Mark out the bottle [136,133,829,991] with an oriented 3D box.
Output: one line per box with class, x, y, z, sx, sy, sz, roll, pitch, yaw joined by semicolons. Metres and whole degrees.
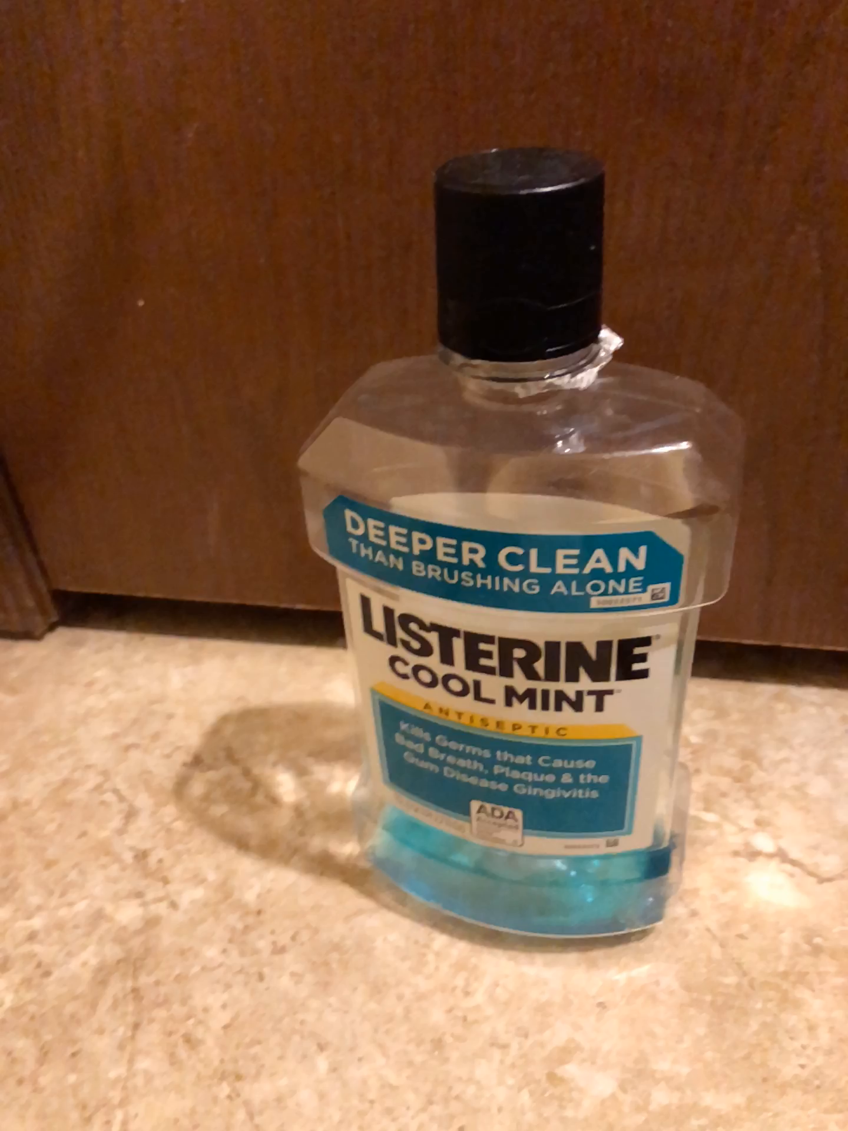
bottle;0.024;0.005;0.272;0.130;0.219;0.090;8;38;16
